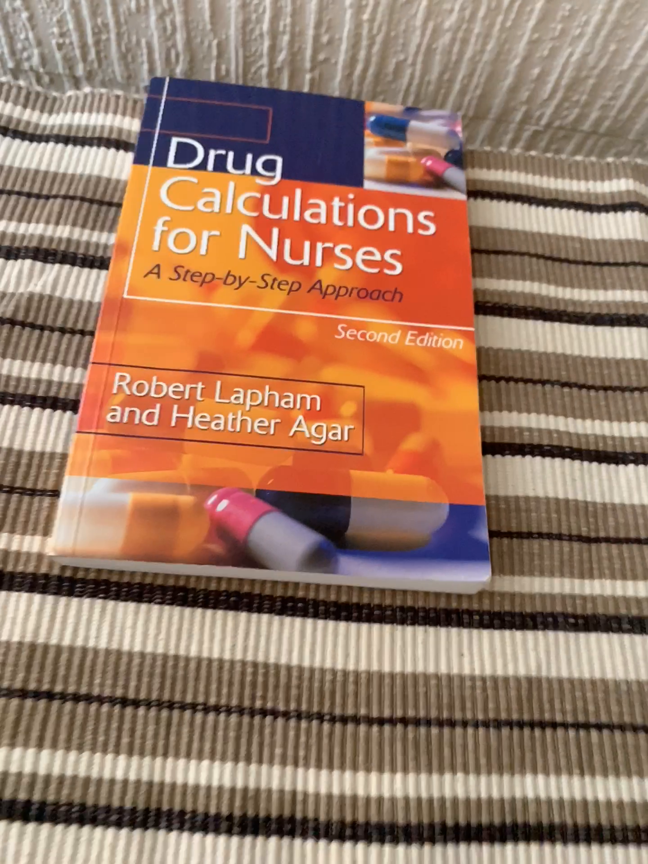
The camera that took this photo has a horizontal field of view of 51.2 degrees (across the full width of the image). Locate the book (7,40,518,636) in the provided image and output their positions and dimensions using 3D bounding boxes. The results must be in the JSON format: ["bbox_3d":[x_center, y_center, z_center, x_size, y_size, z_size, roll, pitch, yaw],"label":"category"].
[{"bbox_3d":[-0.012,-0.047,0.240,0.140,0.020,0.221,5,65,-6],"label":"book"}]
